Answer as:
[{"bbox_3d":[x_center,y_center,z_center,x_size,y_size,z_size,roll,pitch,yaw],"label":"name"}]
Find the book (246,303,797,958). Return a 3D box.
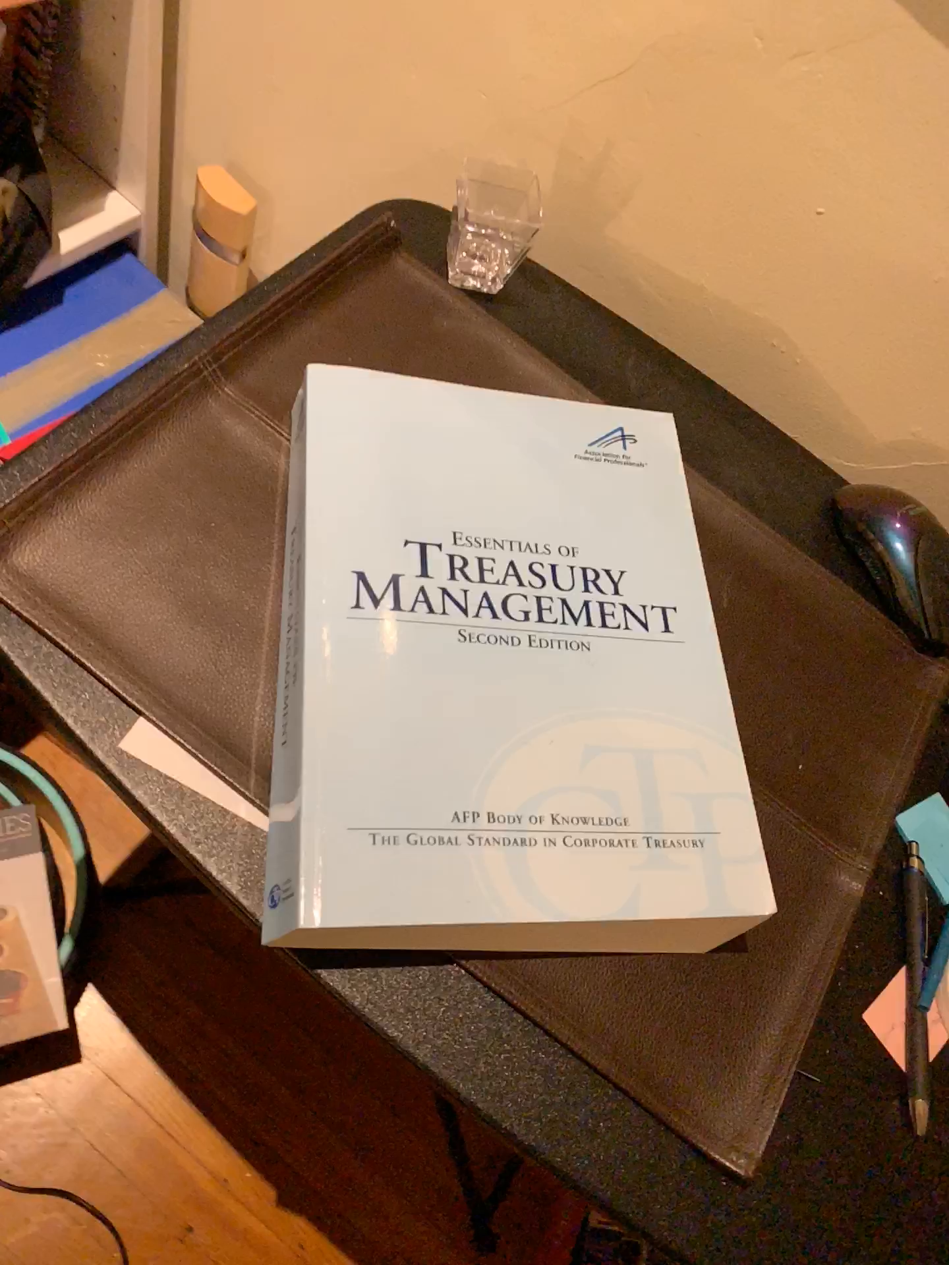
[{"bbox_3d":[0.014,-0.005,0.469,0.220,0.060,0.301,5,62,-16],"label":"book"}]
